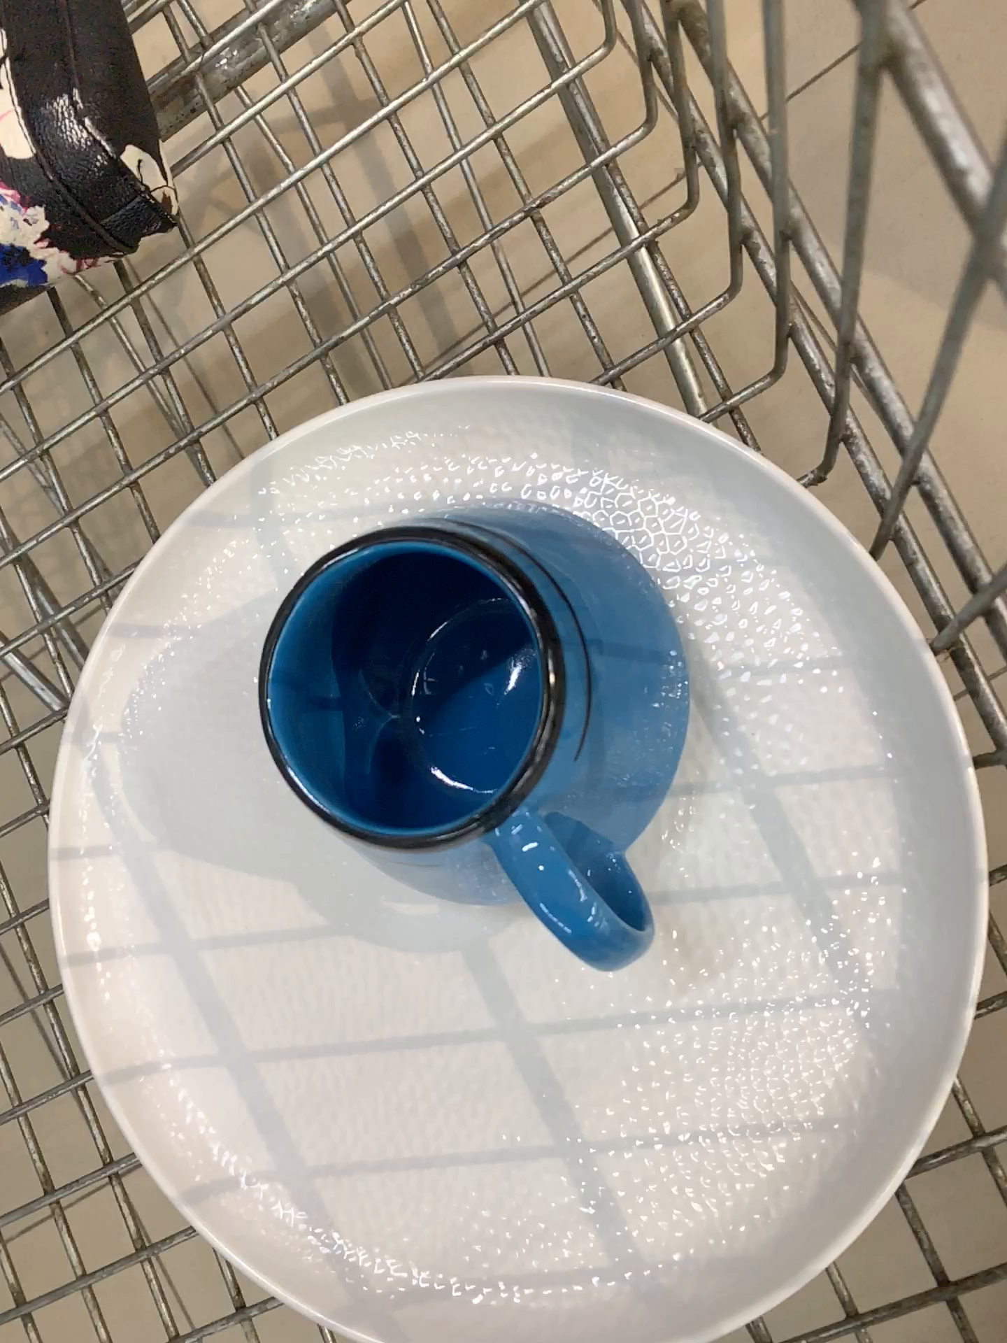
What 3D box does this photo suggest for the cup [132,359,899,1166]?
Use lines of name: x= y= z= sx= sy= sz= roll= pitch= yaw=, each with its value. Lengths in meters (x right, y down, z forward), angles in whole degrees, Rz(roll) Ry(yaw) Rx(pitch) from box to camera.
cup: x=0.006 y=0.018 z=0.253 sx=0.100 sy=0.090 sz=0.130 roll=-42 pitch=80 yaw=12
